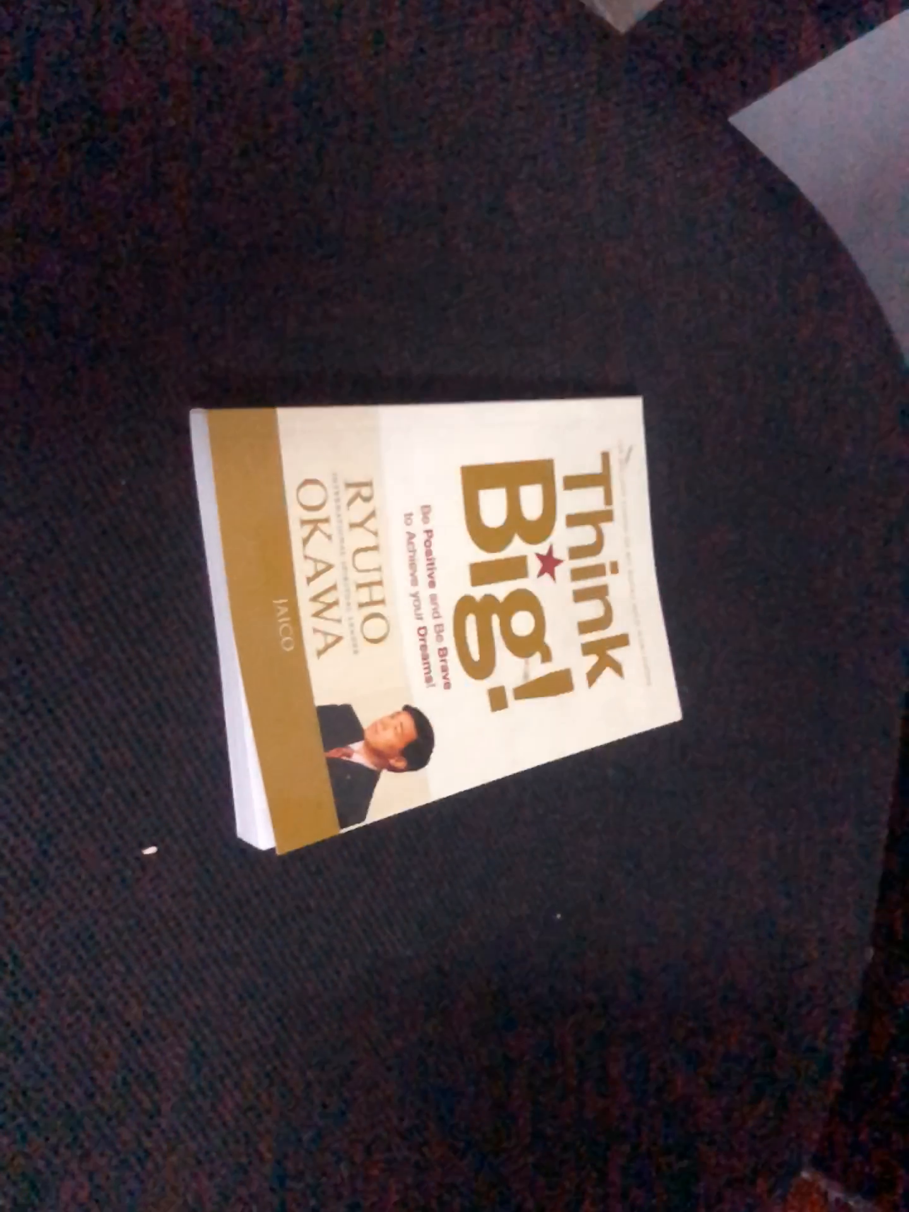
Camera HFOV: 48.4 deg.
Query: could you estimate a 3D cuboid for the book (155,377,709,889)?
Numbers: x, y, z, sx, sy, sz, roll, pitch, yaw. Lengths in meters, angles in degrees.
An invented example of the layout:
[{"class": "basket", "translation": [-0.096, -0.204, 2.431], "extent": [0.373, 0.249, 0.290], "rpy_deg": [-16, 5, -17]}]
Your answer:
[{"class": "book", "translation": [0.007, -0.004, 0.341], "extent": [0.191, 0.026, 0.137], "rpy_deg": [-11, 96, -36]}]
